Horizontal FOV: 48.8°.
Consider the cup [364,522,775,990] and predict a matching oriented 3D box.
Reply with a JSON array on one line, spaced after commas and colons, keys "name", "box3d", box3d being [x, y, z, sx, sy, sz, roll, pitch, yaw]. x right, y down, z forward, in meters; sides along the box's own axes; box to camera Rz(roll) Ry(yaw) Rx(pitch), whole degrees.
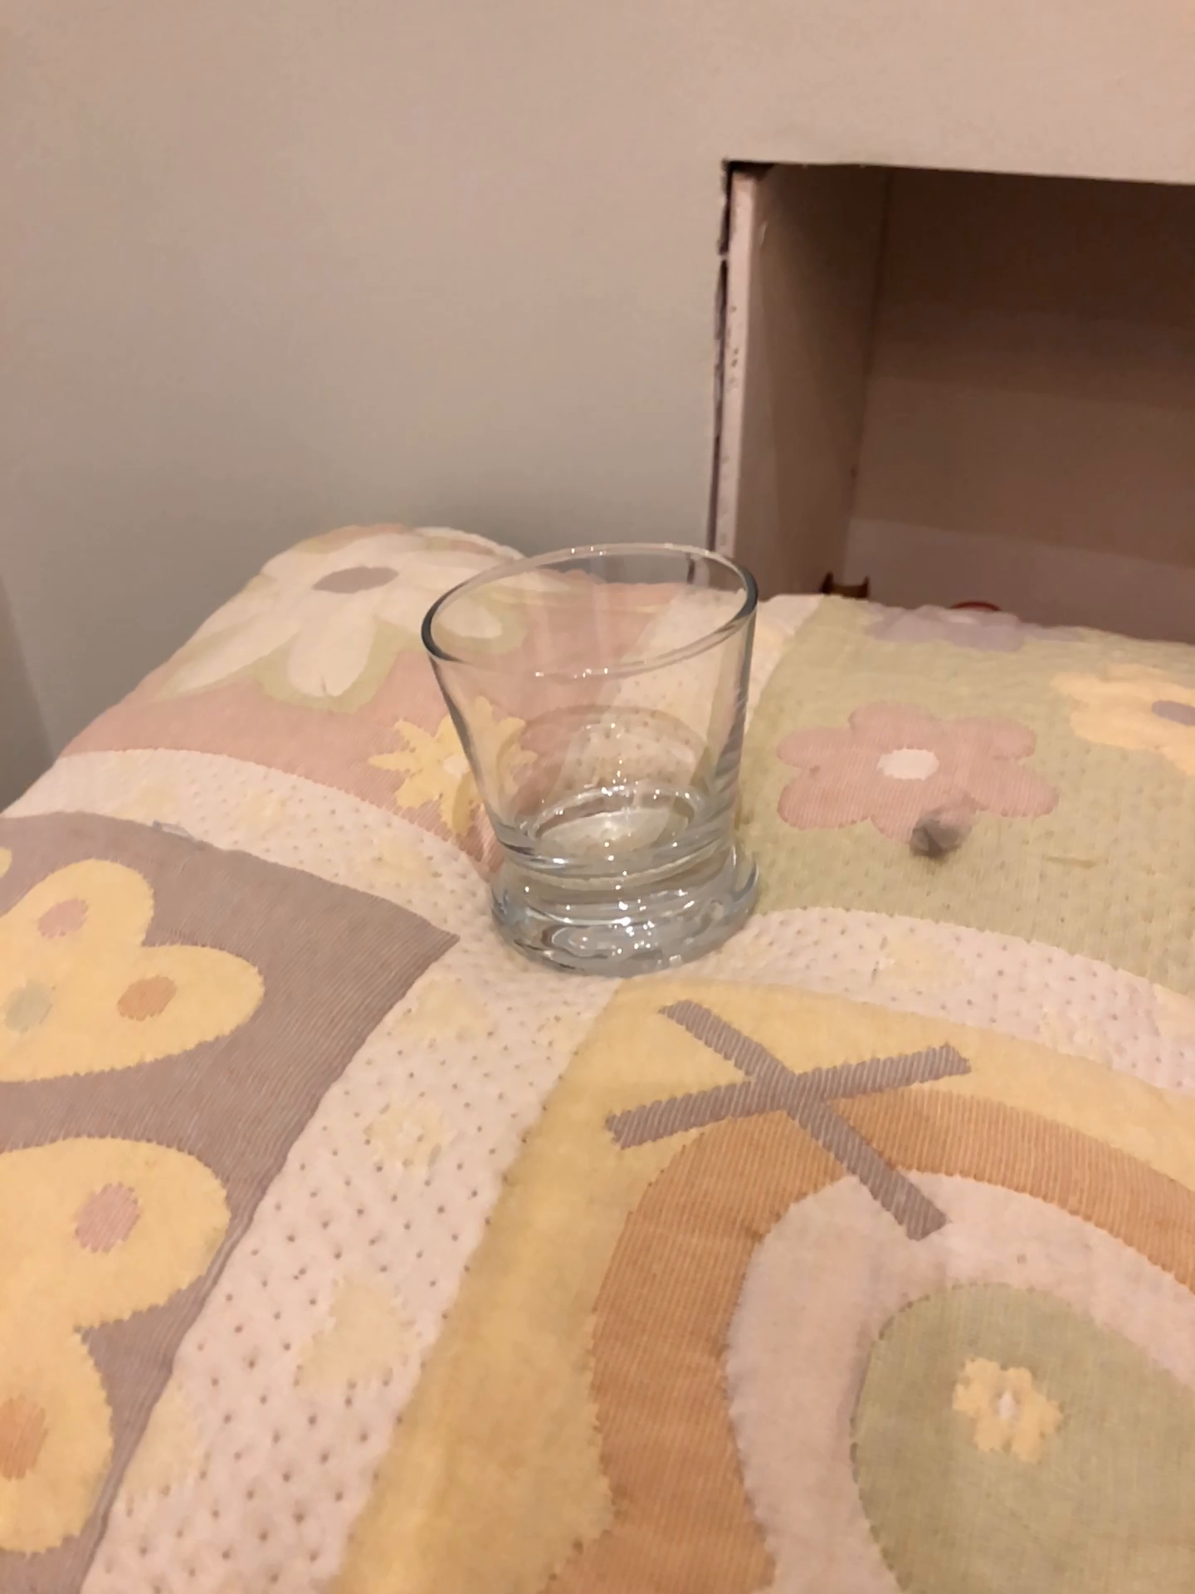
[{"name": "cup", "box3d": [0.000, -0.014, 0.337, 0.080, 0.089, 0.081, -4, 28, 2]}]
